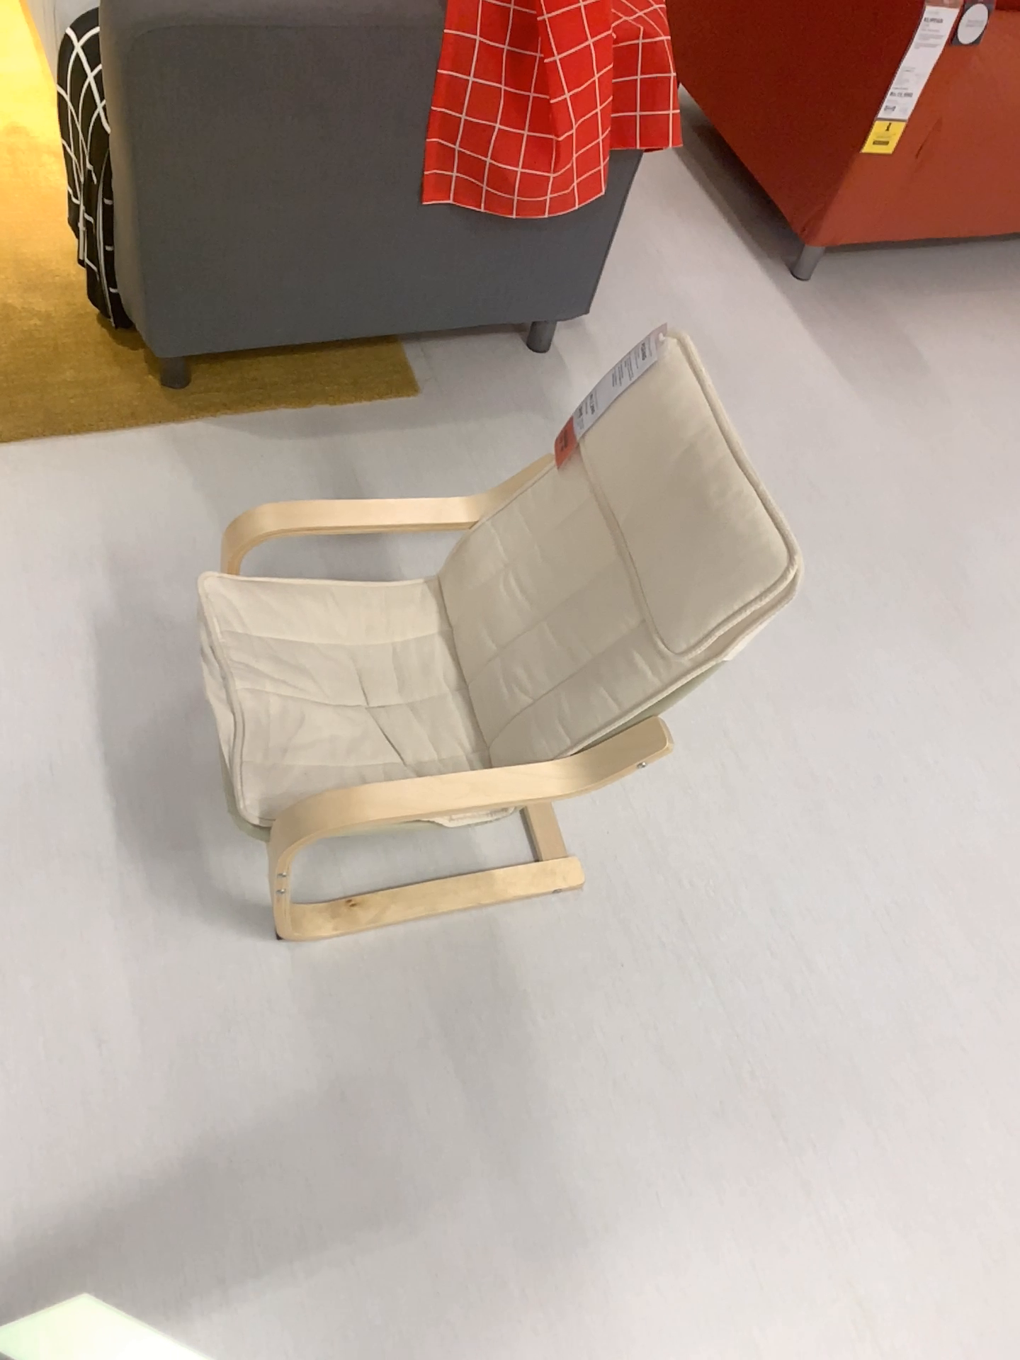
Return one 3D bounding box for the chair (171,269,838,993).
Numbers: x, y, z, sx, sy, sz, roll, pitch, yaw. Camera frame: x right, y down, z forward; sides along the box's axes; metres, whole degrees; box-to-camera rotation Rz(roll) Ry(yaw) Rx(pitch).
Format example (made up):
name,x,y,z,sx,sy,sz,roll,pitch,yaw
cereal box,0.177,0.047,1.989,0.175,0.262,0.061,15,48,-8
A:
name,x,y,z,sx,sy,sz,roll,pitch,yaw
chair,-0.097,-0.023,1.331,0.540,0.798,0.491,-8,59,-19
